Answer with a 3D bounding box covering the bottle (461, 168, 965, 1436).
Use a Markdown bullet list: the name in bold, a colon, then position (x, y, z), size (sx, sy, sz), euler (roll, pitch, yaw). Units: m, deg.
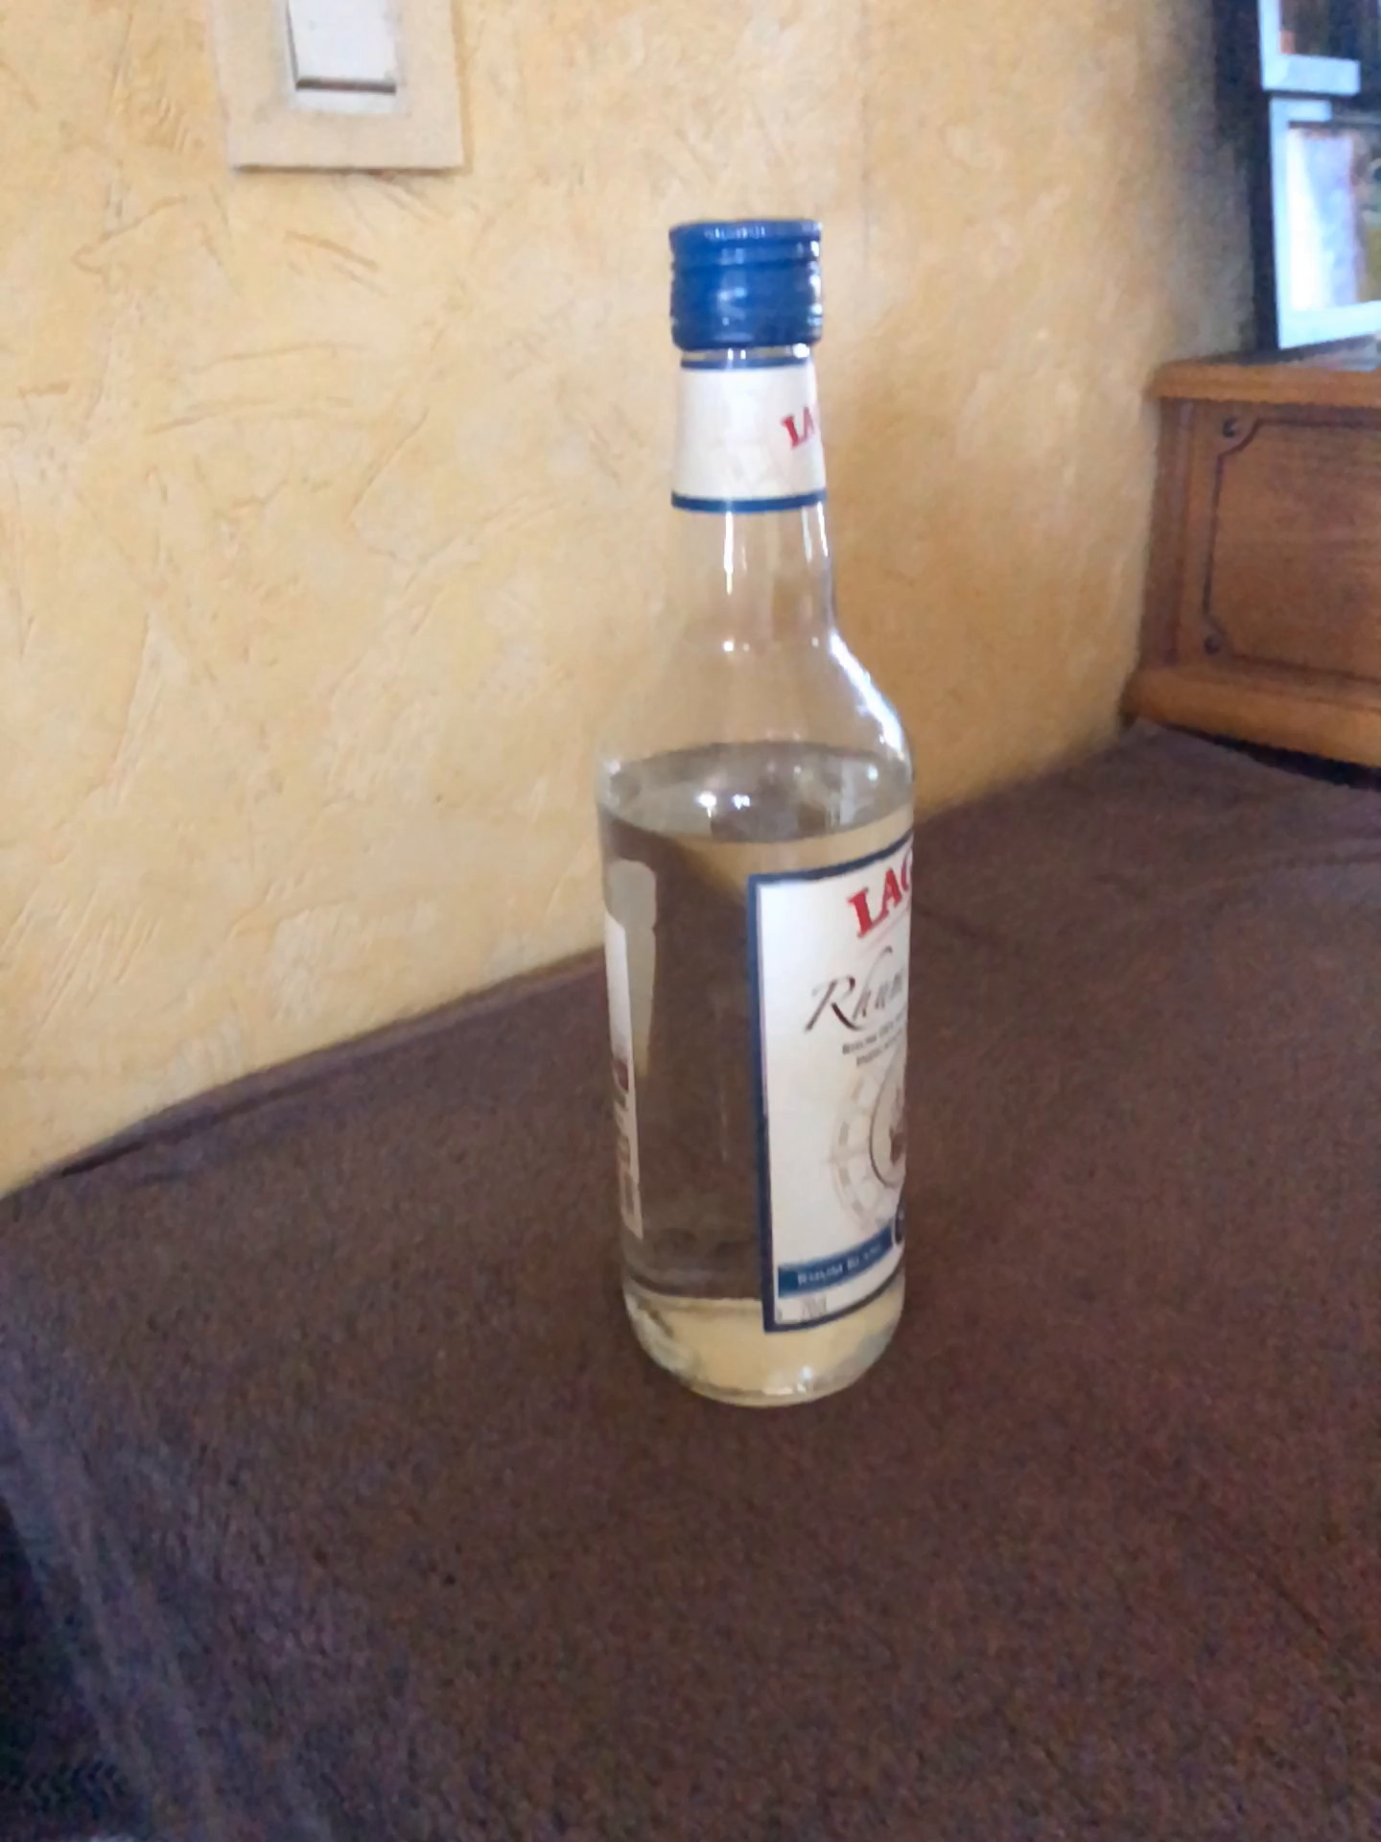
- **bottle**: position (0.013, -0.021, 0.351), size (0.080, 0.269, 0.081), euler (-2, 24, 1)
